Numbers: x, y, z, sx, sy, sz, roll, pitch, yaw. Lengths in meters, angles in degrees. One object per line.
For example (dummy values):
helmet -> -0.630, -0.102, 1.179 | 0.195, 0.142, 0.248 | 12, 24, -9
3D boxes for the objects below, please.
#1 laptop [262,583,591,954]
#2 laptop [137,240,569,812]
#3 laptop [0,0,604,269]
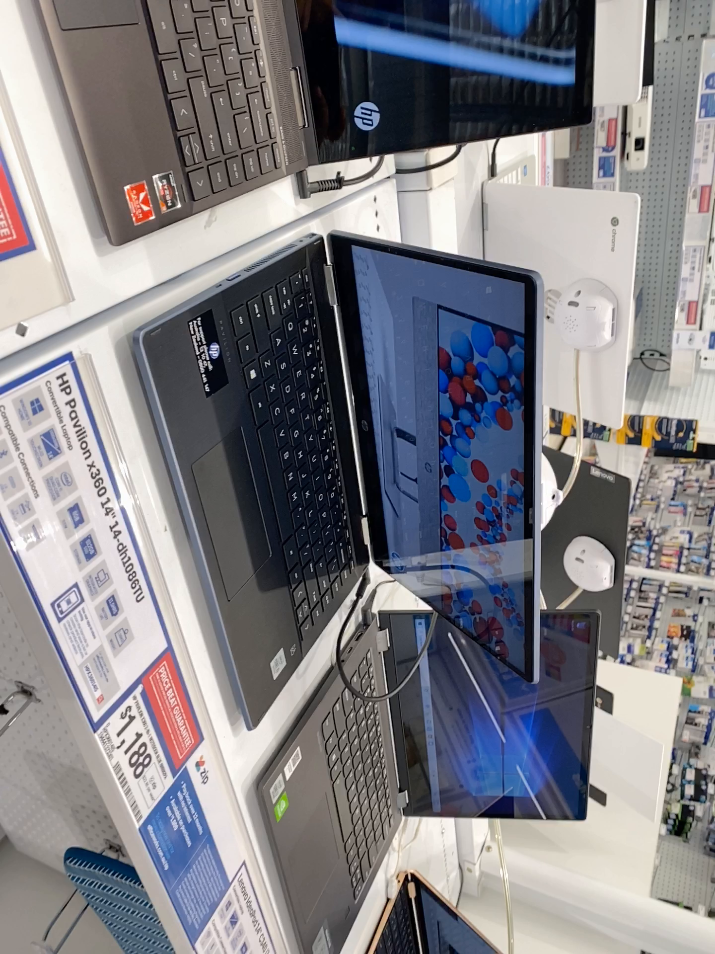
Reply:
laptop -> 0.097, 0.334, 0.731 | 0.295, 0.199, 0.306 | -46, 136, -50
laptop -> 0.028, 0.021, 0.521 | 0.211, 0.189, 0.314 | -50, 140, -48
laptop -> 0.001, -0.321, 0.383 | 0.325, 0.173, 0.326 | -47, 136, -47
